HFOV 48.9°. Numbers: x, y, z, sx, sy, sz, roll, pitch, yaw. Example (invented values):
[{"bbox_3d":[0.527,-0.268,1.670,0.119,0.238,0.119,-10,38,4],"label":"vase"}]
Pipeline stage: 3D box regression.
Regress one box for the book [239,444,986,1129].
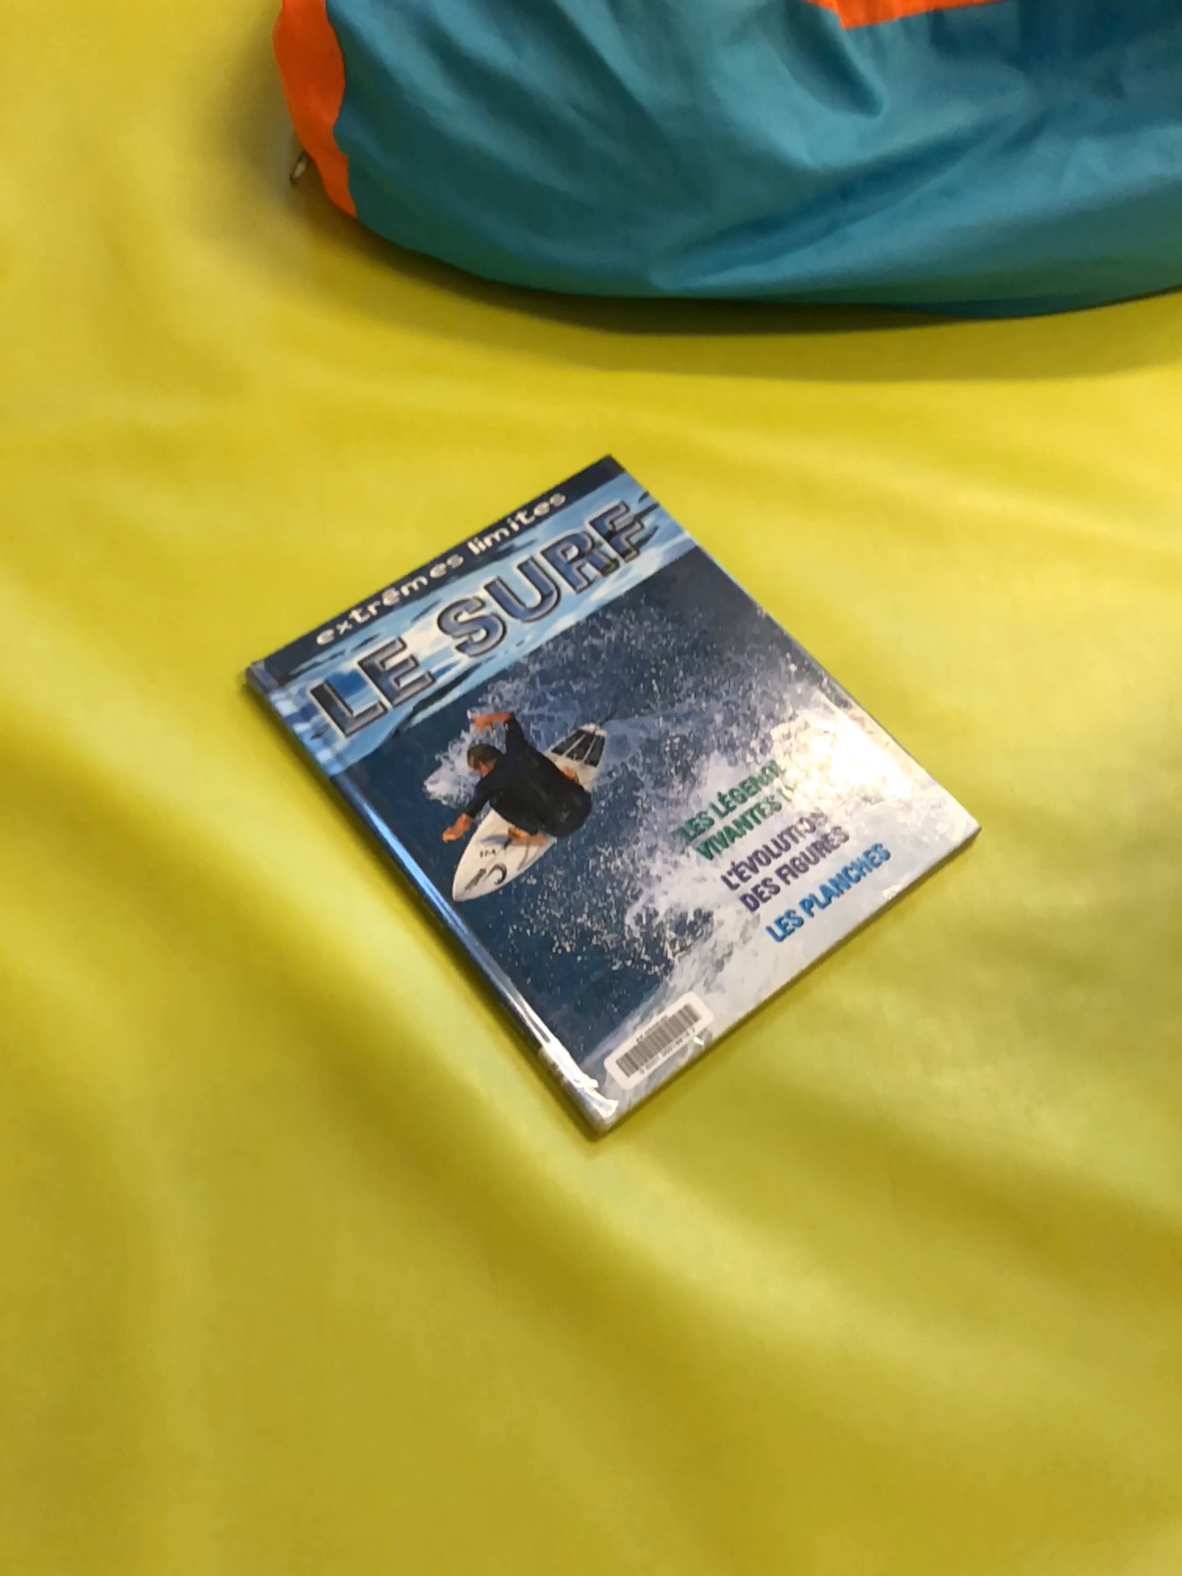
[{"bbox_3d":[0.006,-0.021,0.606,0.226,0.016,0.273,-33,68,-19],"label":"book"}]
